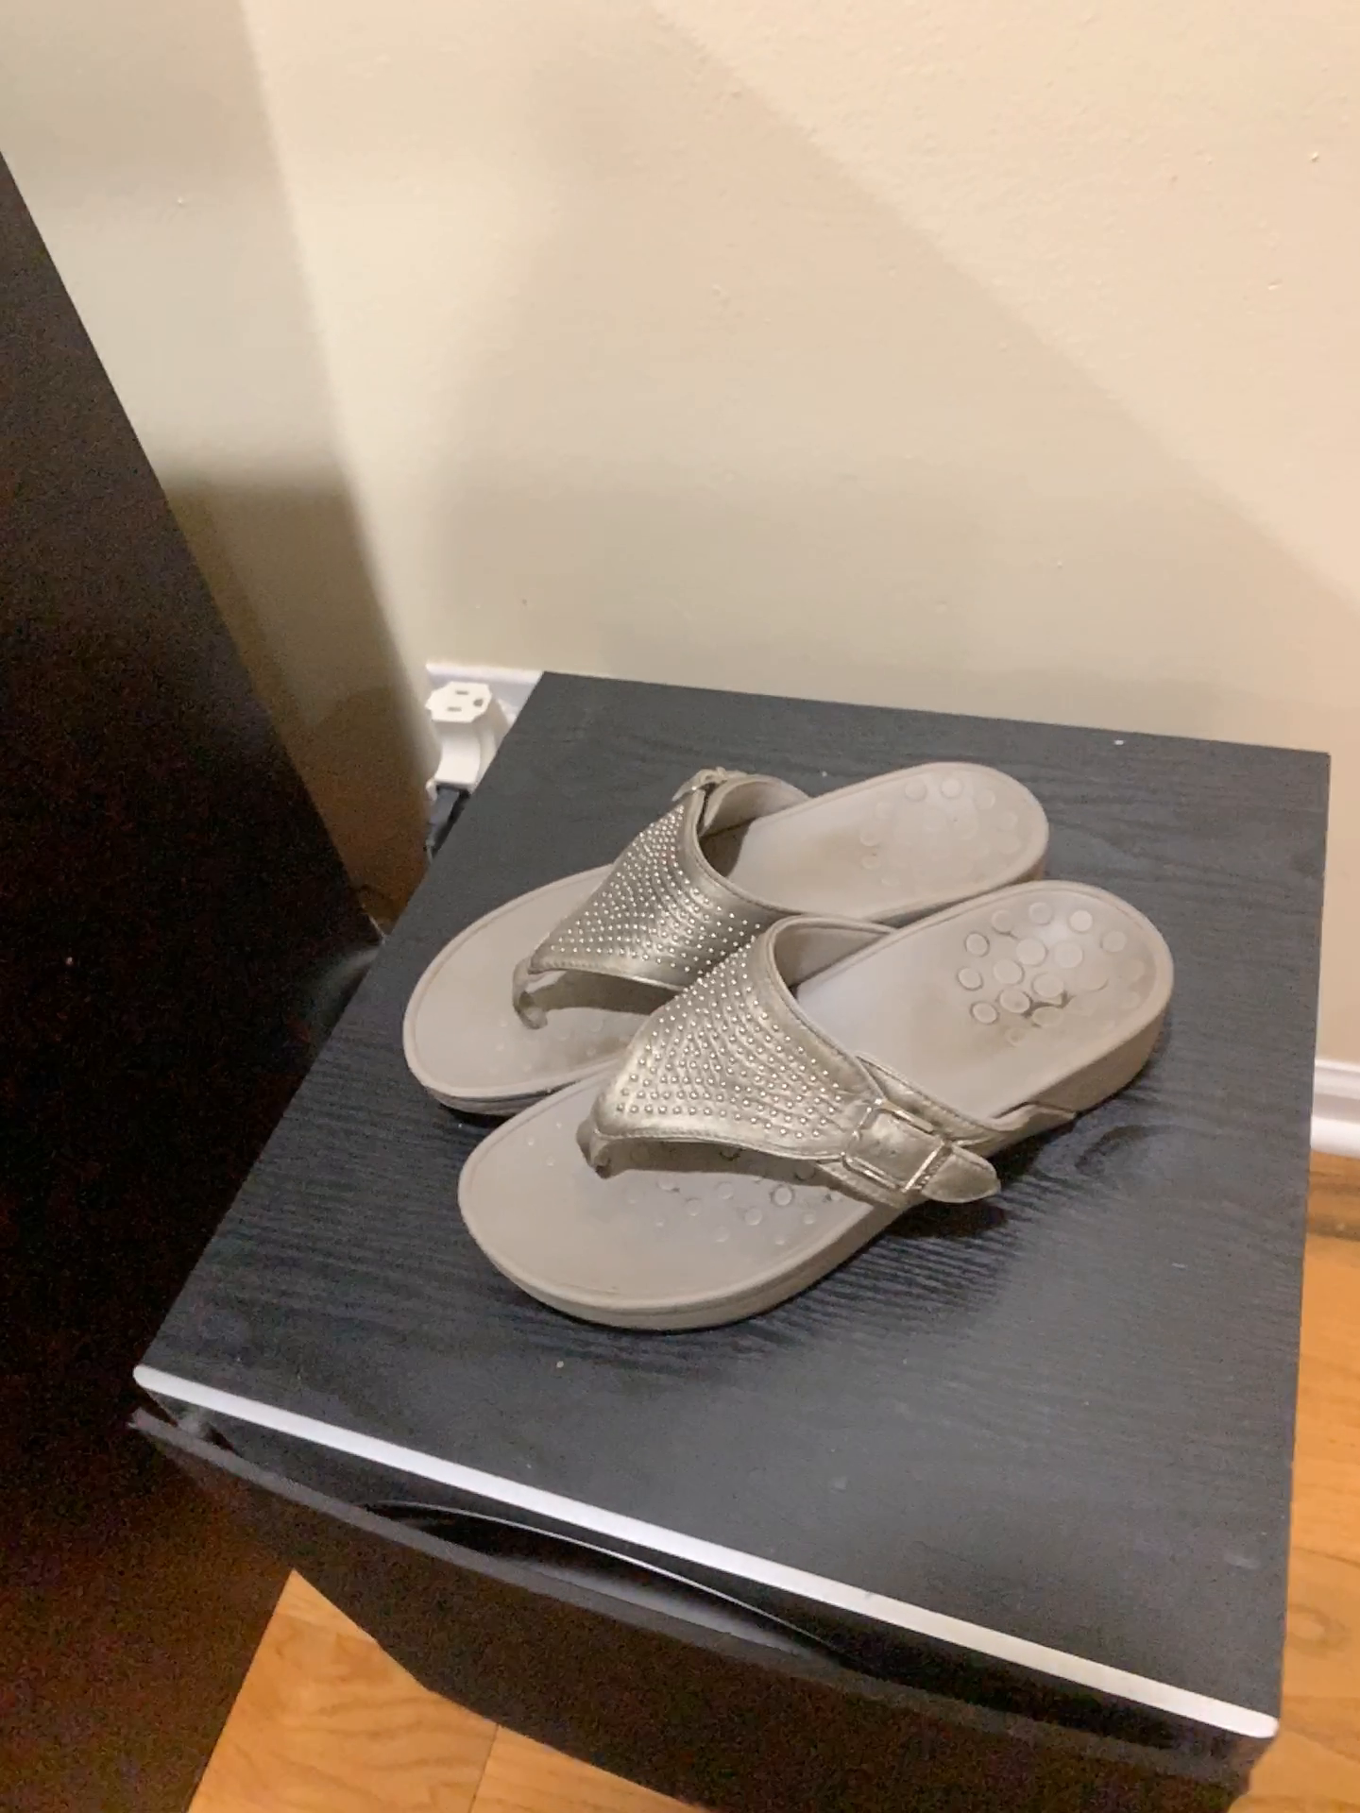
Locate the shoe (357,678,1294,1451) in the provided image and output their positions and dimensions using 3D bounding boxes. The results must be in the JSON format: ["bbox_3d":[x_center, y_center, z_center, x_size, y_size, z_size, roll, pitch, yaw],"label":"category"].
[{"bbox_3d":[0.045,0.039,0.428,0.248,0.080,0.109,-27,50,-13],"label":"shoe"}]

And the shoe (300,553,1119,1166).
[{"bbox_3d":[0.010,-0.022,0.487,0.247,0.080,0.109,-22,49,-9],"label":"shoe"}]
